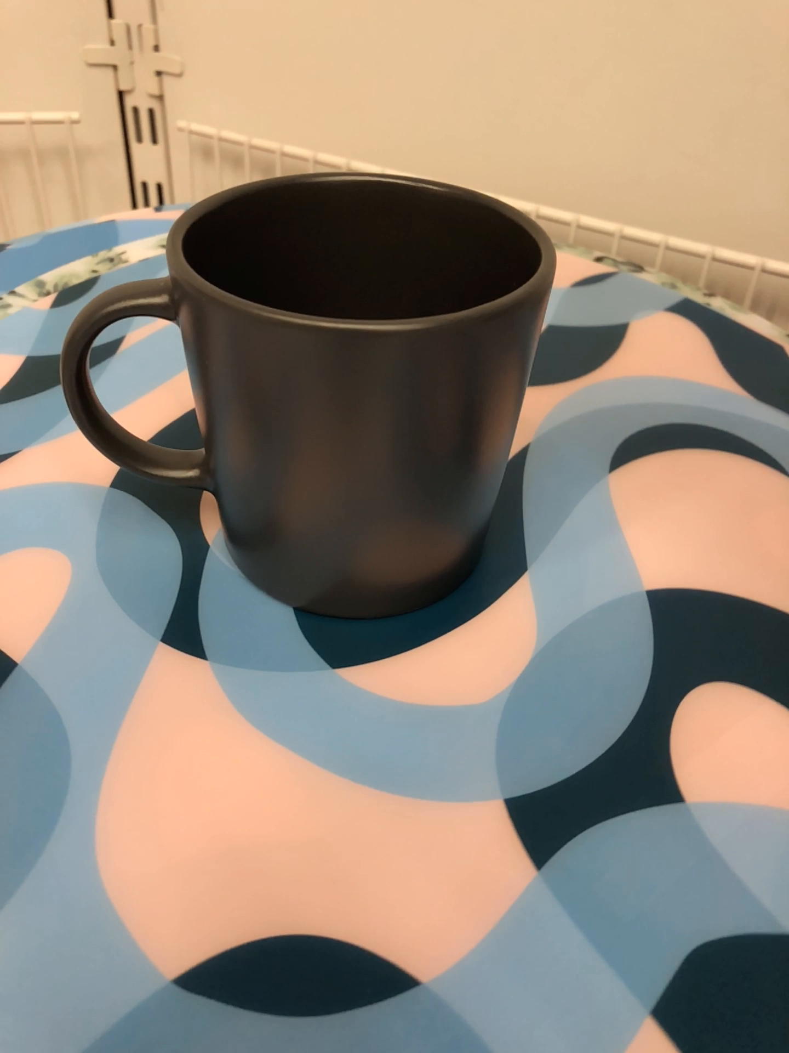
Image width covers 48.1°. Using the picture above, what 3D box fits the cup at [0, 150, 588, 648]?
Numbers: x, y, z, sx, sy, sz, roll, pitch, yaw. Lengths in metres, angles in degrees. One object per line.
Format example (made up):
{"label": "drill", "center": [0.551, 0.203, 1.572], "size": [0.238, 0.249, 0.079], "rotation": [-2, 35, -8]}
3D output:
{"label": "cup", "center": [-0.025, -0.035, 0.230], "size": [0.120, 0.090, 0.090], "rotation": [3, 38, -2]}
